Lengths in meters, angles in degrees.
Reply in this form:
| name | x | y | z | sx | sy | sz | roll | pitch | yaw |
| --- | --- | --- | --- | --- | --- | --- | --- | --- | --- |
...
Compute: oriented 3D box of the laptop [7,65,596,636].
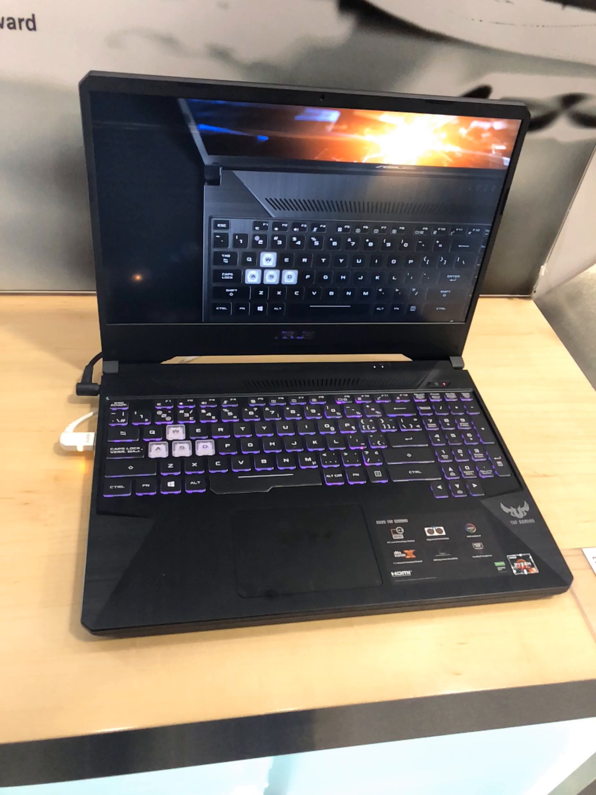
| name | x | y | z | sx | sy | sz | roll | pitch | yaw |
| --- | --- | --- | --- | --- | --- | --- | --- | --- | --- |
| laptop | 0.023 | -0.049 | 0.485 | 0.359 | 0.245 | 0.310 | -2 | 44 | -12 |
